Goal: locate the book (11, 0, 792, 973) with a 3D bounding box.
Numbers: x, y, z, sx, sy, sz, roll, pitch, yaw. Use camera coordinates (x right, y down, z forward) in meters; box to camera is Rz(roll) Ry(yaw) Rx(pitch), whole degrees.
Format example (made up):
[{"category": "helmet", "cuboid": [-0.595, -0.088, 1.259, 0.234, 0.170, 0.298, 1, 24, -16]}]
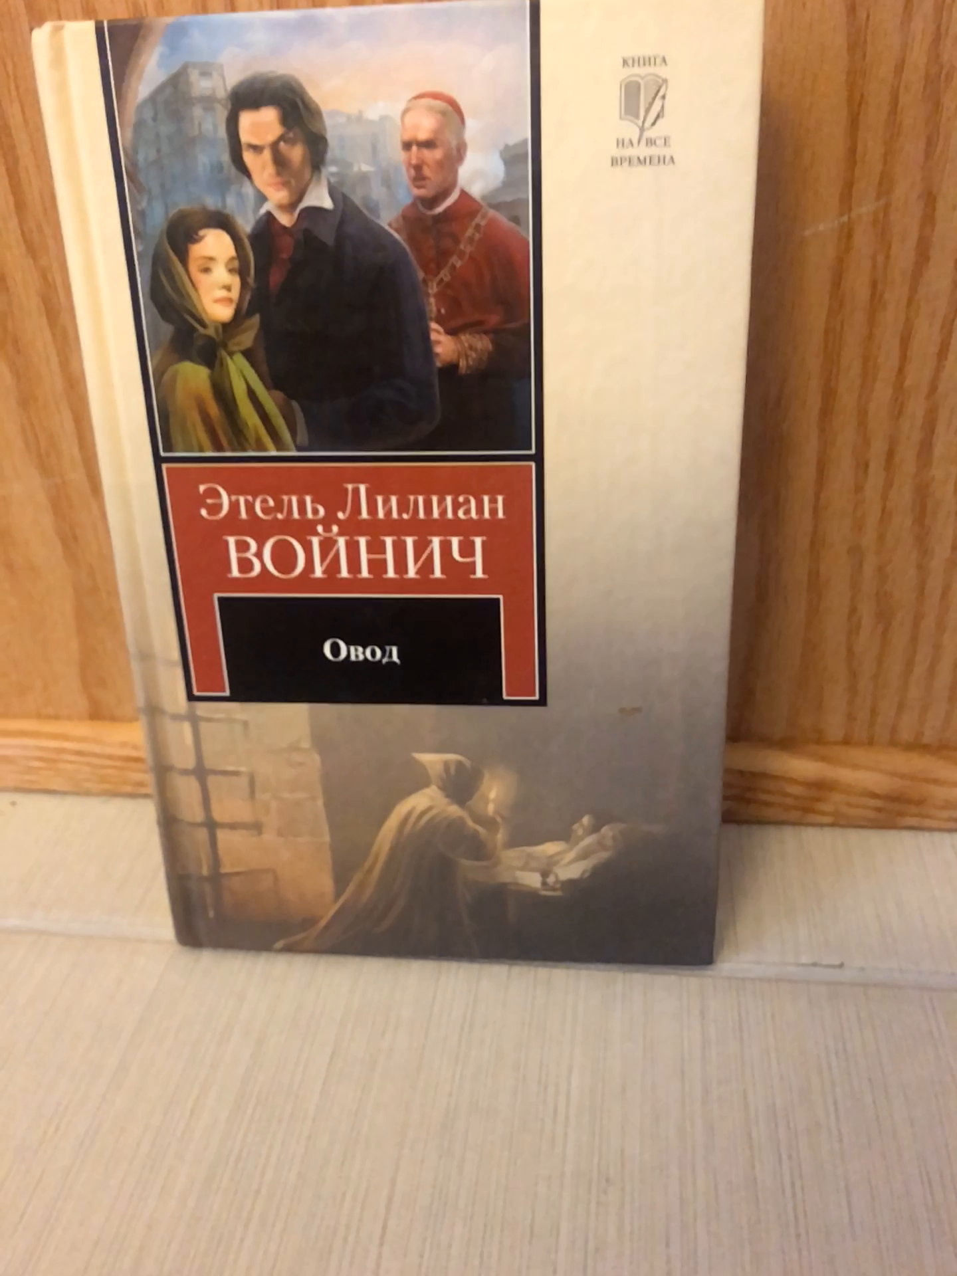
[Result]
[{"category": "book", "cuboid": [-0.011, -0.023, 0.238, 0.139, 0.203, 0.030, 0, 21, 7]}]
